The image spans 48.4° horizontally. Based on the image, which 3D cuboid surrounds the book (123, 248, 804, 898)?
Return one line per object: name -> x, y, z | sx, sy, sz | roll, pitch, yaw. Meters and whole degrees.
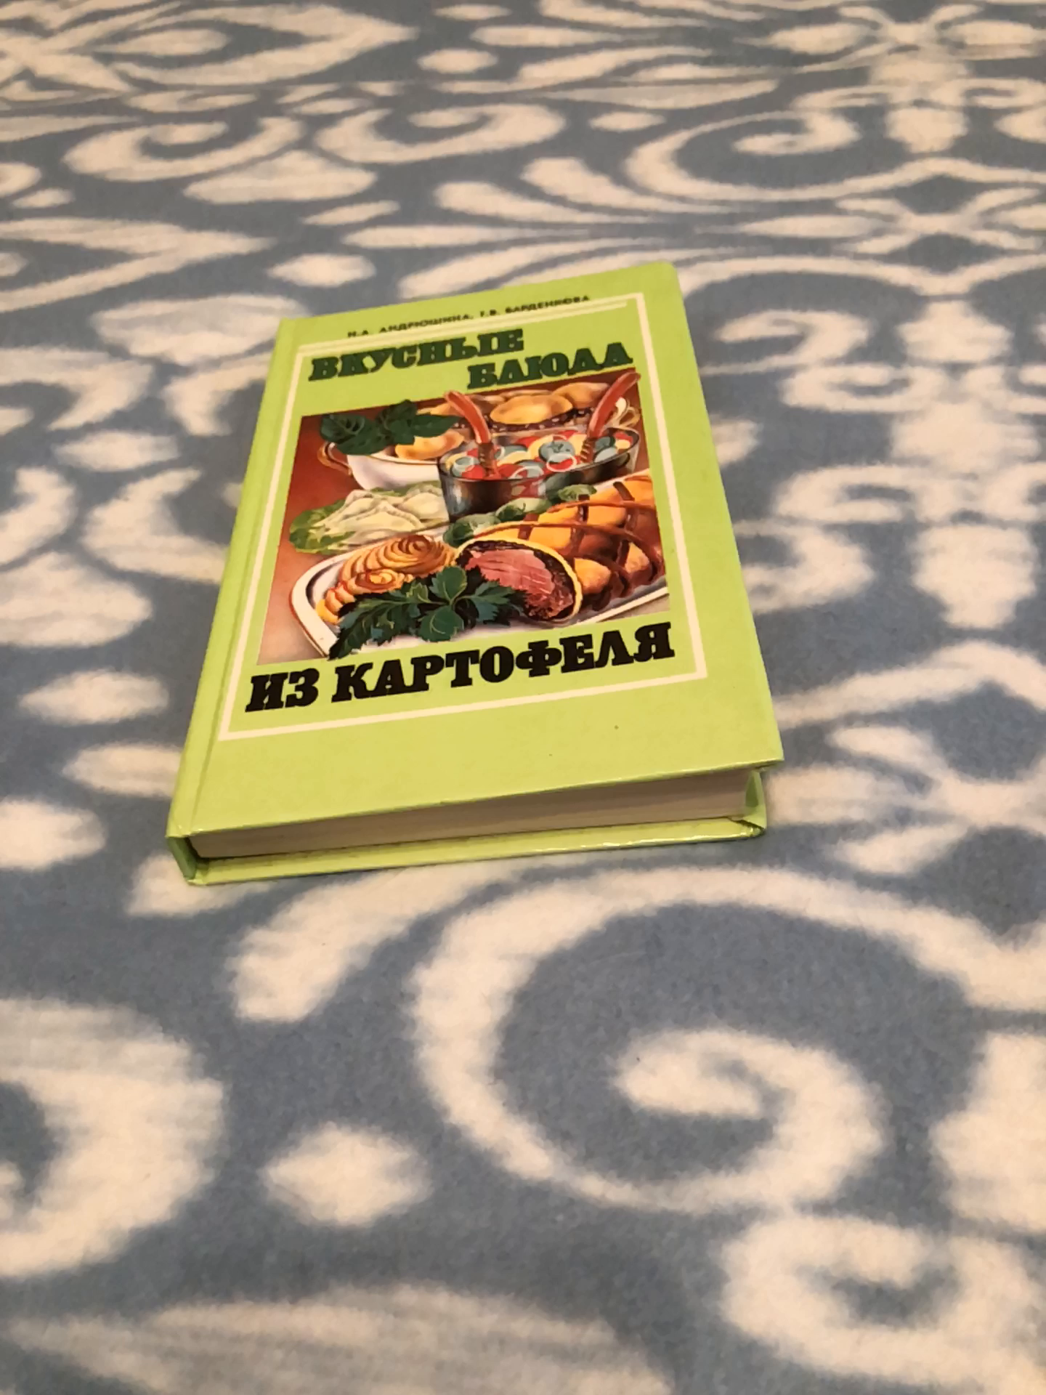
book -> -0.013, -0.047, 0.305 | 0.135, 0.025, 0.202 | -7, 47, 6
